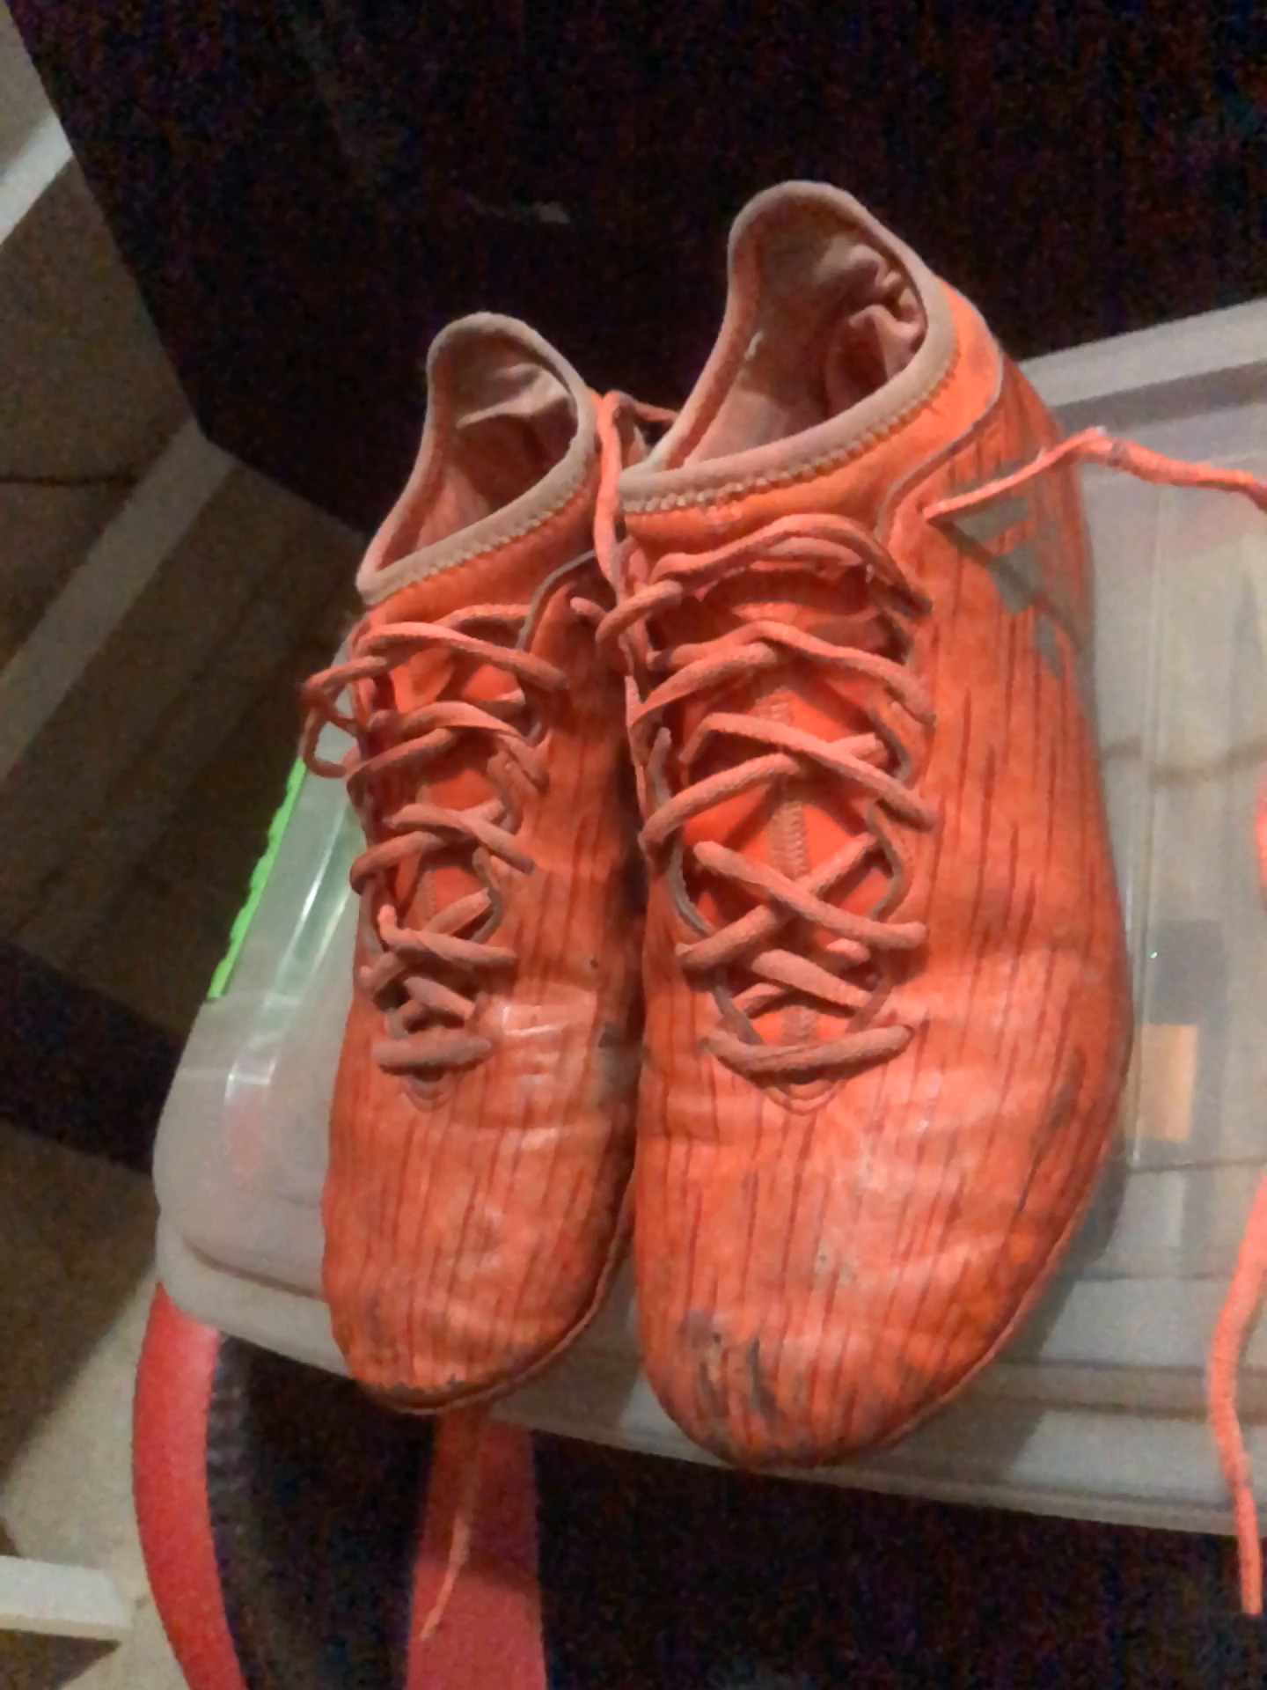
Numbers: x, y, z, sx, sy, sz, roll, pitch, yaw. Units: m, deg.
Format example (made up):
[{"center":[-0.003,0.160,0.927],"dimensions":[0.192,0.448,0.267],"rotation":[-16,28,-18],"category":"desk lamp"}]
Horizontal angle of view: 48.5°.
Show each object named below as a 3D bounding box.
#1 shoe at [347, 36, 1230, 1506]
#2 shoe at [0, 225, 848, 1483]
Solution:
[{"center":[0.048,-0.014,0.281],"dimensions":[0.090,0.129,0.241],"rotation":[-11,55,32],"category":"shoe"},{"center":[-0.028,0.003,0.326],"dimensions":[0.090,0.129,0.241],"rotation":[-11,55,32],"category":"shoe"}]
